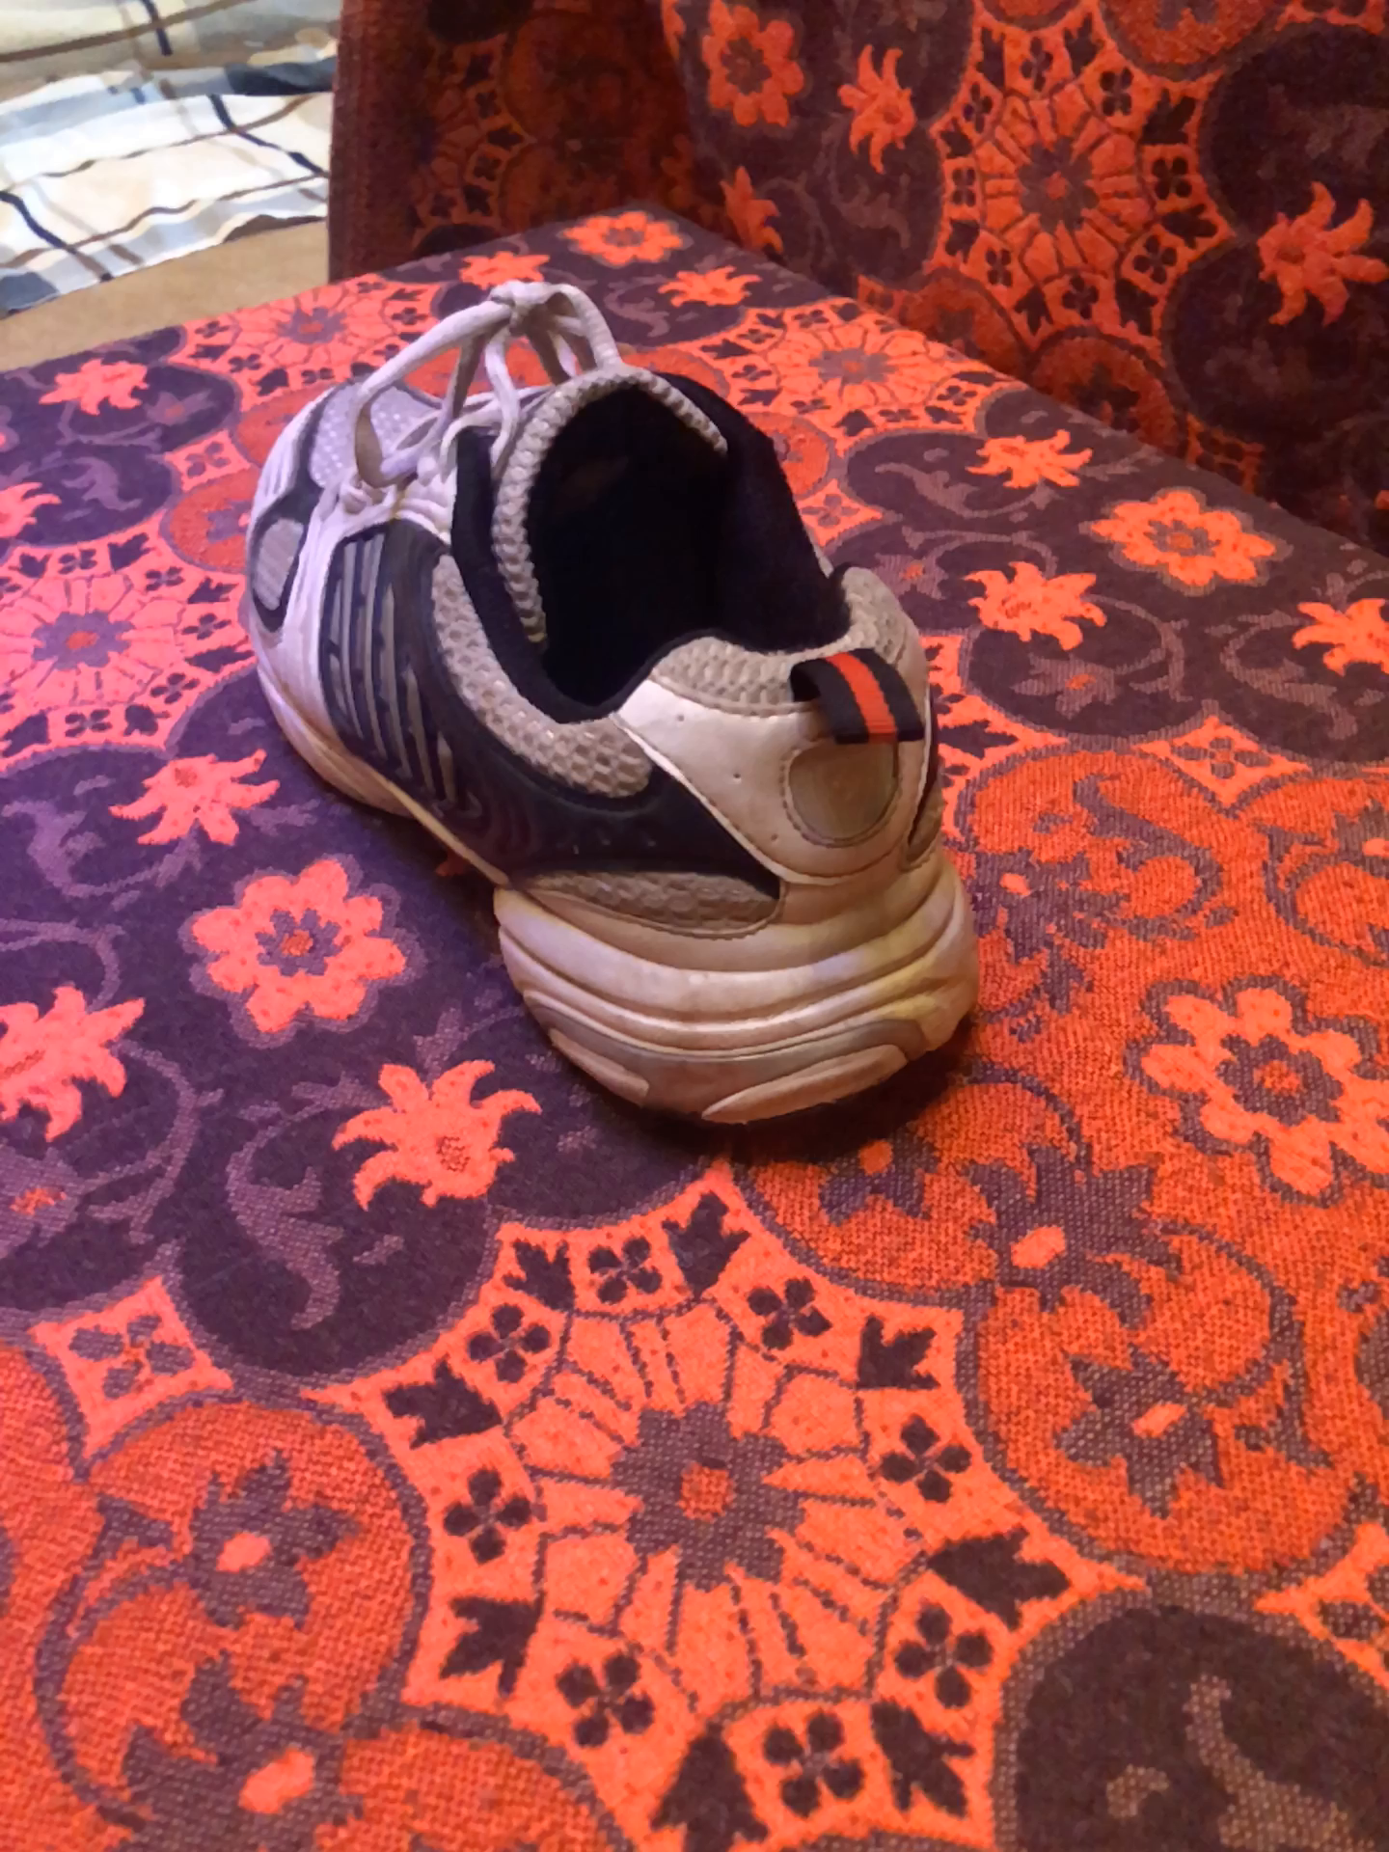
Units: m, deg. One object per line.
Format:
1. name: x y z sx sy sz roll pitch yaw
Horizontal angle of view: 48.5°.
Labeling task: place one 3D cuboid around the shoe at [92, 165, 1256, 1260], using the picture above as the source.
1. shoe: -0.030 -0.082 0.384 0.120 0.109 0.301 -24 47 -23
